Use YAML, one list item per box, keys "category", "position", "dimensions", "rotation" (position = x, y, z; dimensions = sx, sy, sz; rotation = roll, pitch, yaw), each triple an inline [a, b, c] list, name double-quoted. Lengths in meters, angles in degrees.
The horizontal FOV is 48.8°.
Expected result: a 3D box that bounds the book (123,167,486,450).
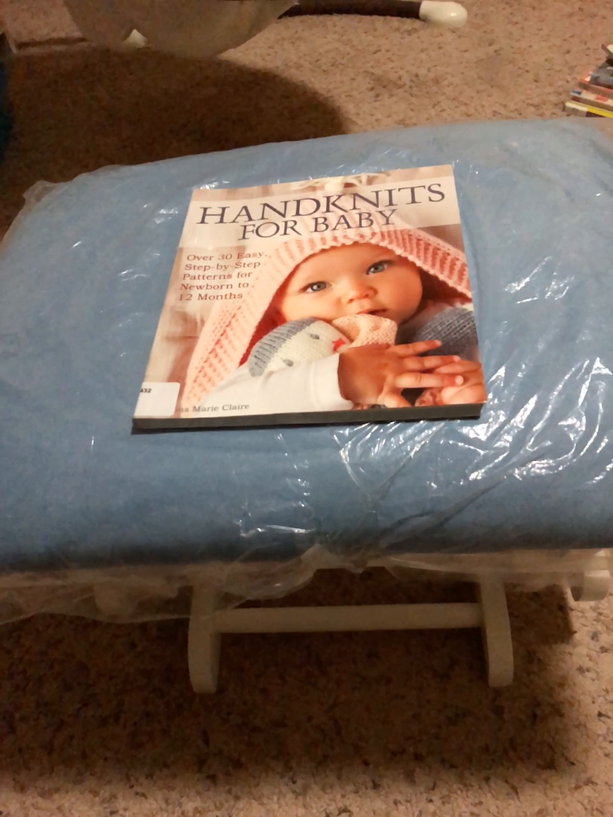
- category: "book"
  position: [0.002, -0.074, 0.437]
  dimensions: [0.197, 0.020, 0.220]
  rotation: [-3, 52, 8]
